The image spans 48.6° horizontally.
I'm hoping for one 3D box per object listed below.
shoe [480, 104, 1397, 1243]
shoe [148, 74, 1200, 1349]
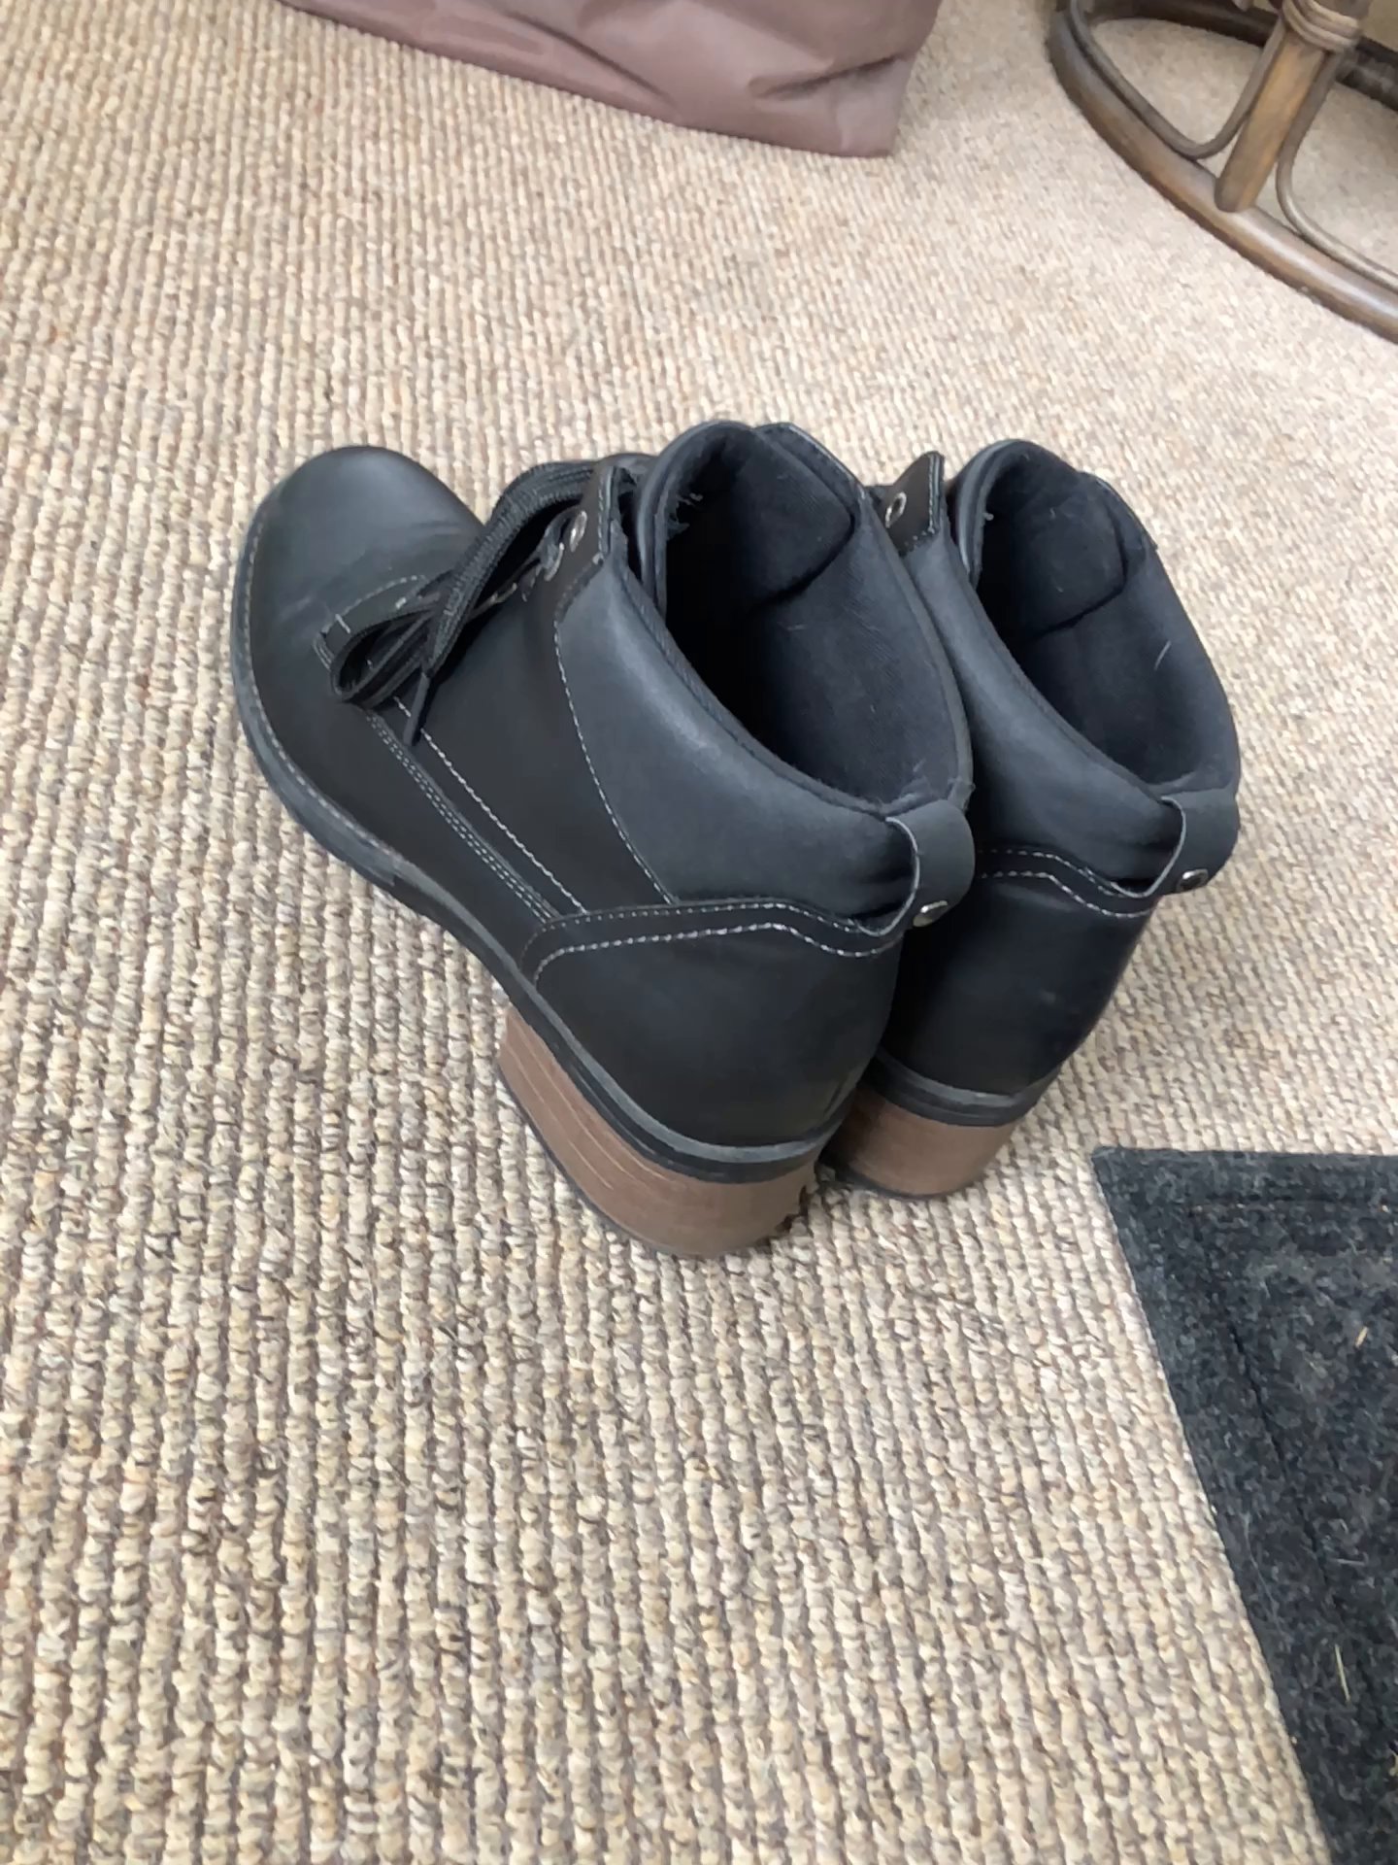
[{"bbox_3d":[0.045,-0.080,0.444,0.095,0.161,0.273,-7,55,-31],"label":"shoe"},{"bbox_3d":[-0.035,-0.063,0.397,0.097,0.165,0.267,-17,60,-36],"label":"shoe"}]
